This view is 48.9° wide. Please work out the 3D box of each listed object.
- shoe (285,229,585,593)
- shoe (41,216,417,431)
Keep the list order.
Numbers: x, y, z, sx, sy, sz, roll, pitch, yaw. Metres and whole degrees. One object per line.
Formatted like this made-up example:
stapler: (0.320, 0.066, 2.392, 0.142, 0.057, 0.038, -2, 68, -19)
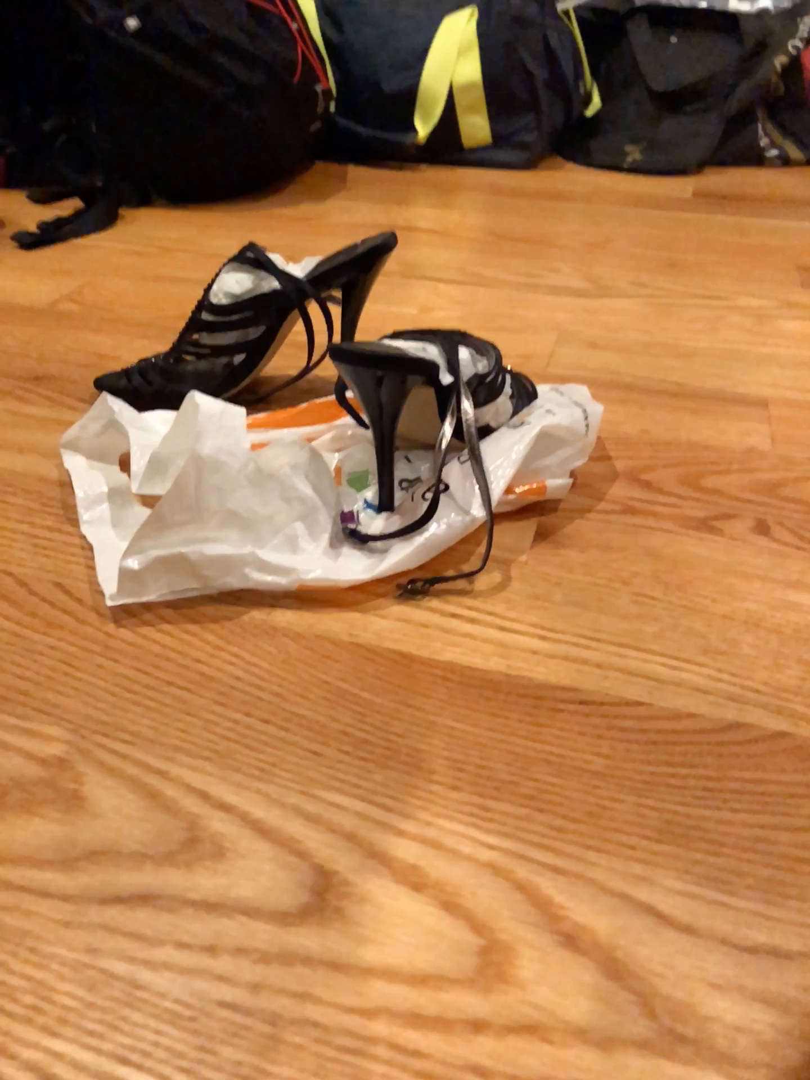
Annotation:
shoe: (0.027, -0.087, 0.504, 0.092, 0.112, 0.218, 13, 35, 17)
shoe: (-0.104, -0.143, 0.587, 0.217, 0.112, 0.091, 0, 33, -2)
